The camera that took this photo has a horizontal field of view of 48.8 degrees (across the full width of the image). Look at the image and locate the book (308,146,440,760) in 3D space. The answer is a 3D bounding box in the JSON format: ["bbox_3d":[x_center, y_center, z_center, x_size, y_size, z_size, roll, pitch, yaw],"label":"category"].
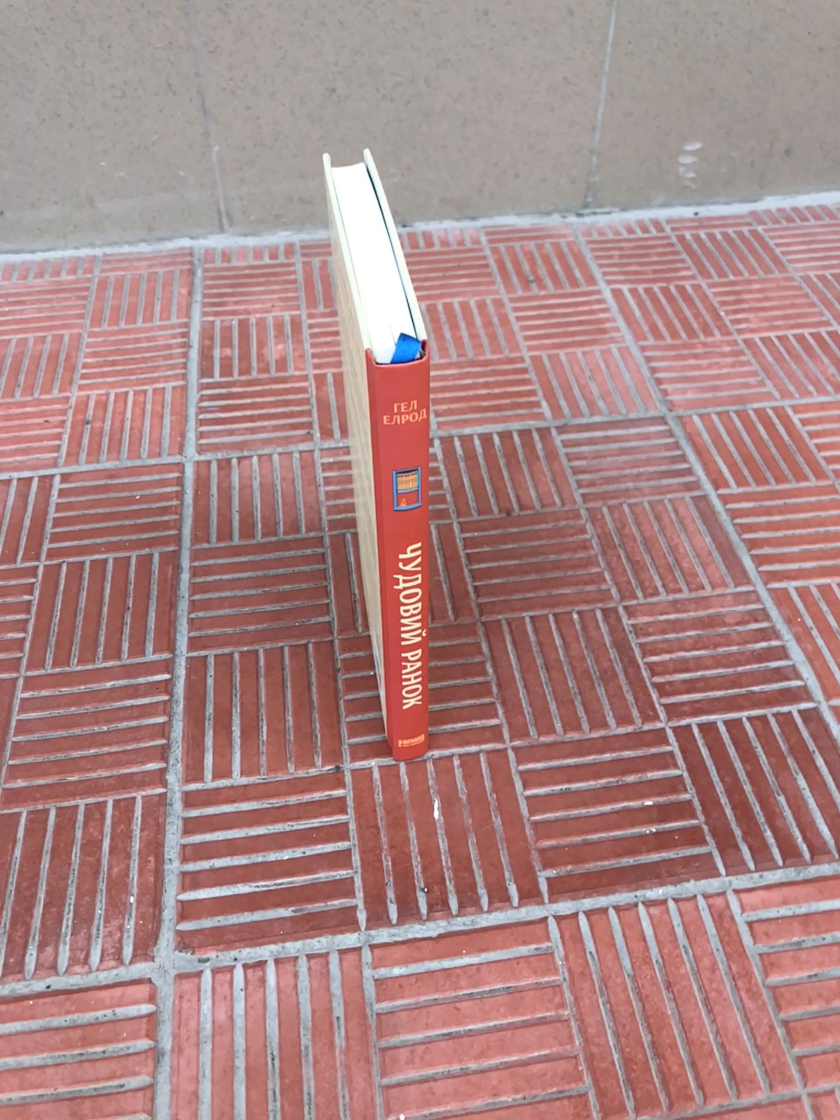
[{"bbox_3d":[-0.017,-0.036,0.371,0.025,0.196,0.145,-7,47,-6],"label":"book"}]
